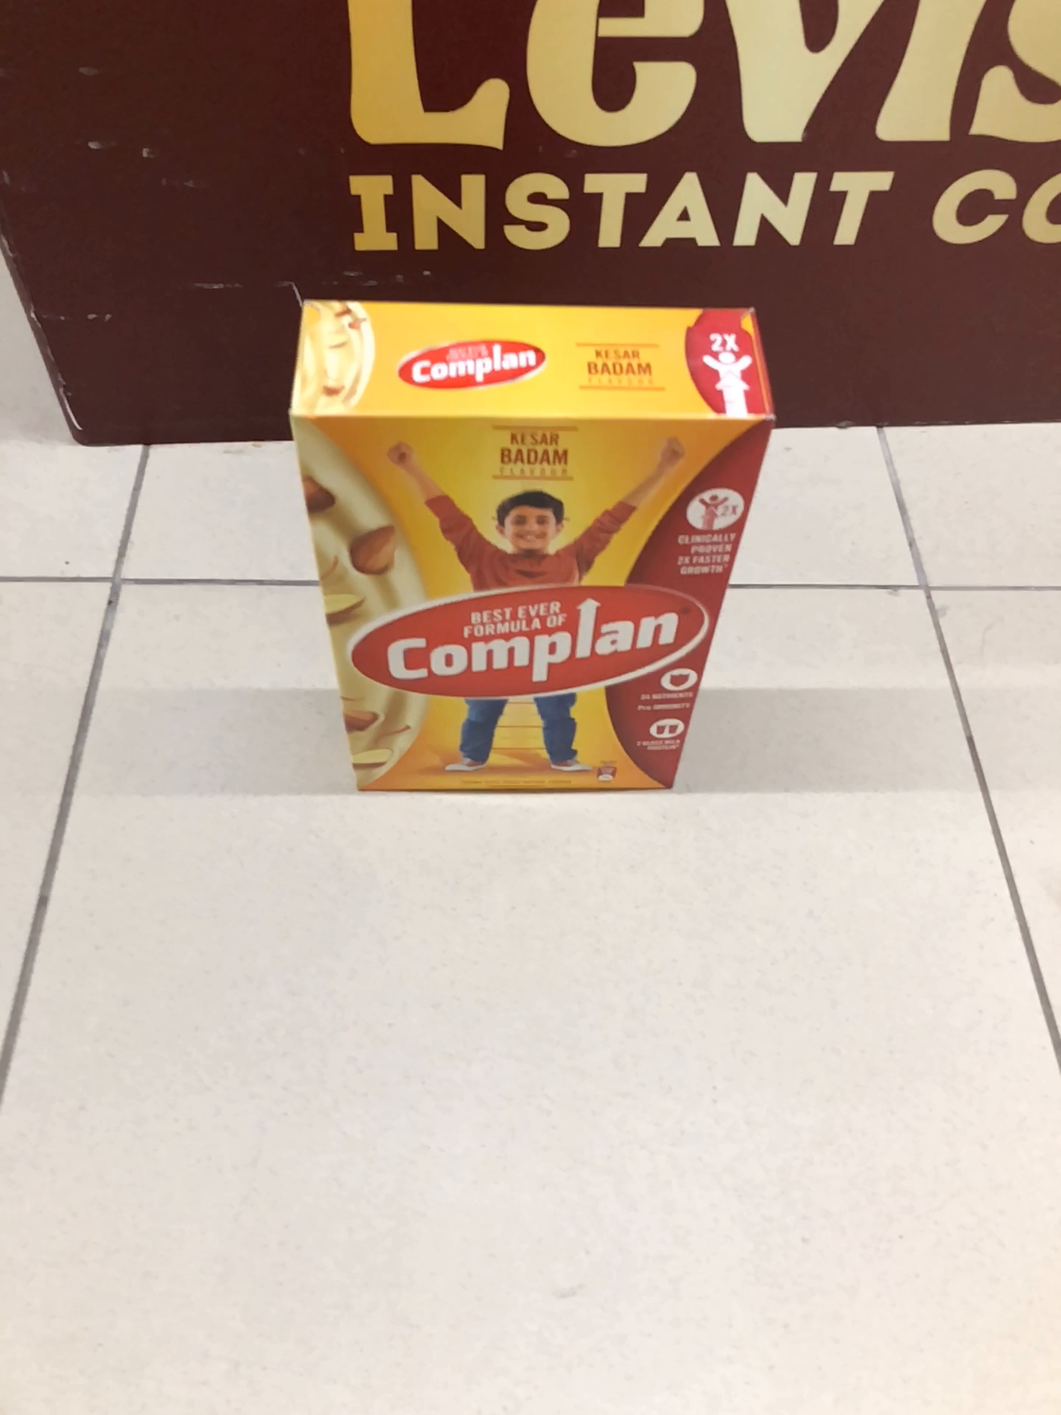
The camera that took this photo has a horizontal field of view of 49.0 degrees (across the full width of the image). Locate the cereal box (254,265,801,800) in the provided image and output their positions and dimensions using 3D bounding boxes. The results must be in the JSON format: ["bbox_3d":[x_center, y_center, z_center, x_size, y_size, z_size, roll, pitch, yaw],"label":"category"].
[{"bbox_3d":[-0.005,-0.047,0.427,0.150,0.219,0.060,0,56,-3],"label":"cereal box"}]
